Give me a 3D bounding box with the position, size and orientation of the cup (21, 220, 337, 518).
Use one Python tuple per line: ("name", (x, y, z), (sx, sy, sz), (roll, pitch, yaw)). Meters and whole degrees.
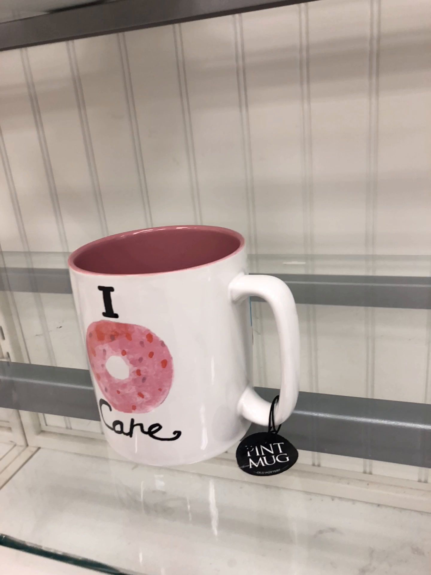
("cup", (-0.012, 0.030, 0.275), (0.137, 0.112, 0.100), (6, 23, 28))
